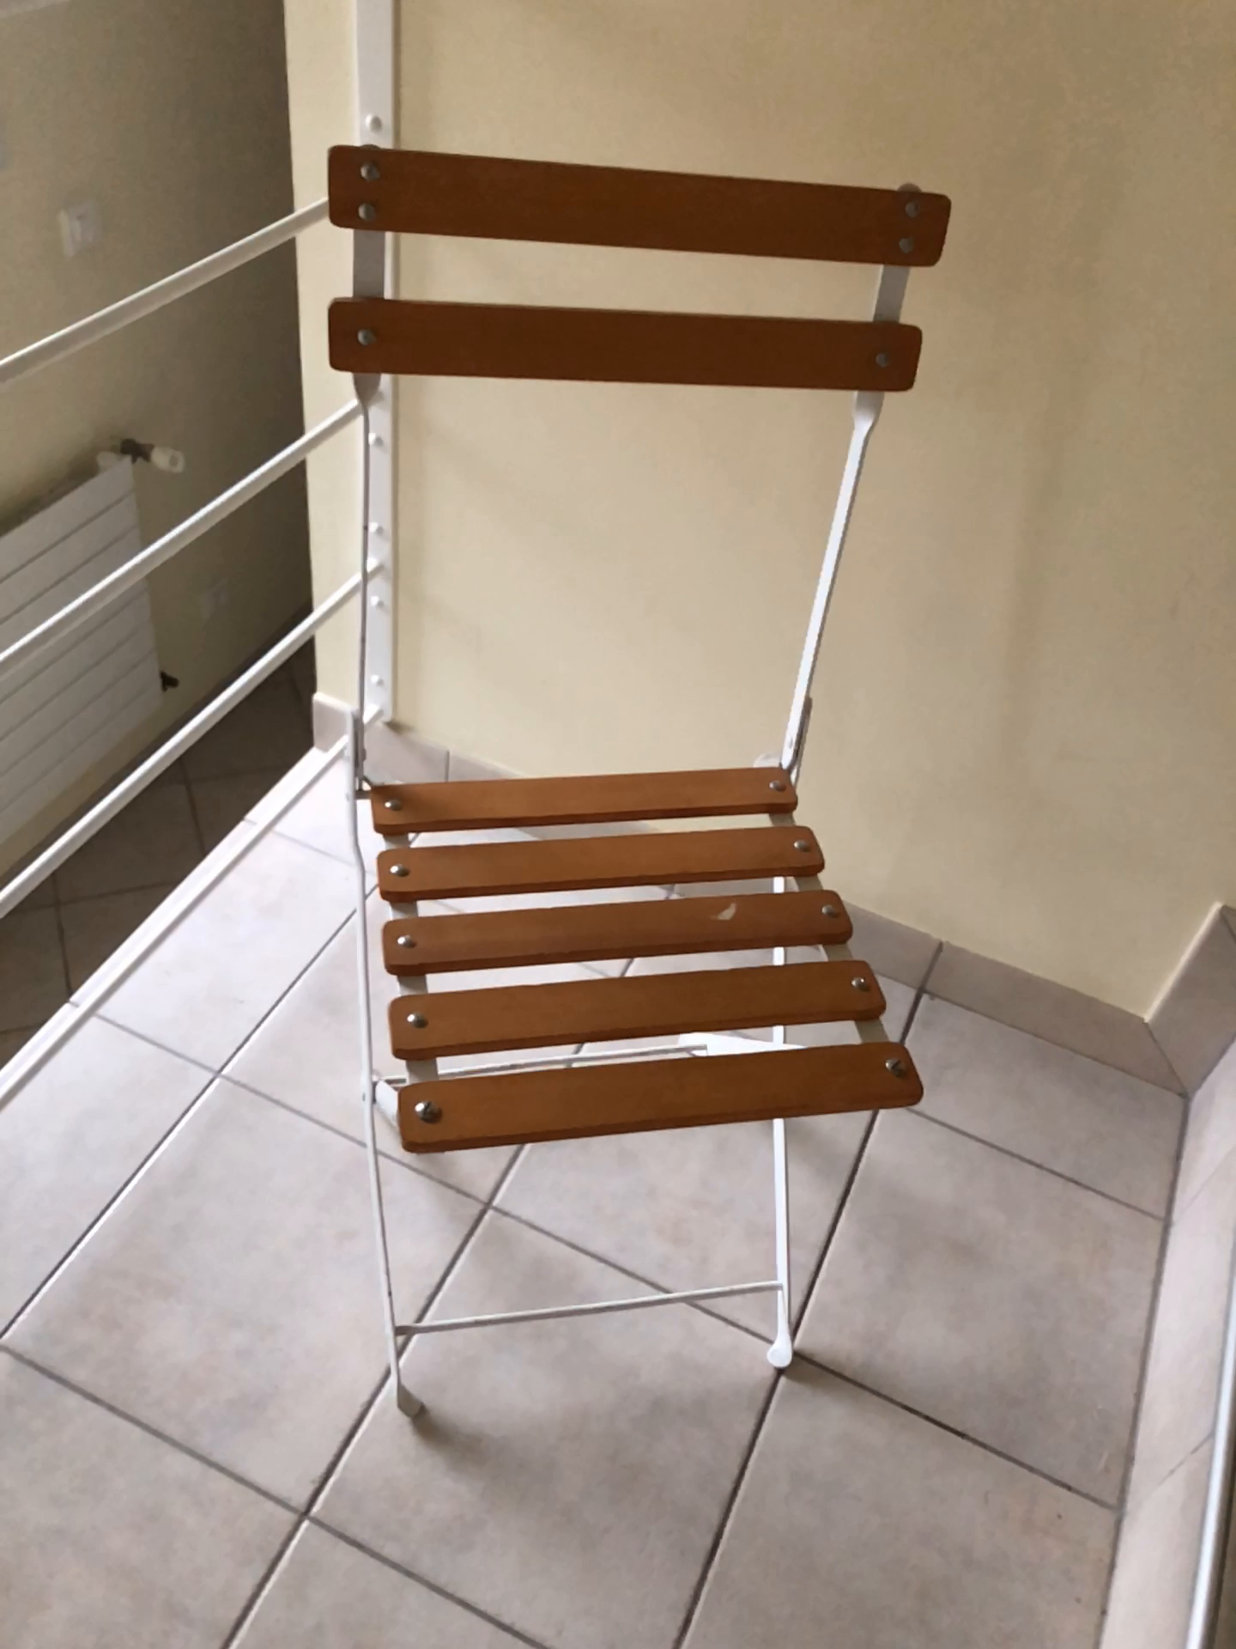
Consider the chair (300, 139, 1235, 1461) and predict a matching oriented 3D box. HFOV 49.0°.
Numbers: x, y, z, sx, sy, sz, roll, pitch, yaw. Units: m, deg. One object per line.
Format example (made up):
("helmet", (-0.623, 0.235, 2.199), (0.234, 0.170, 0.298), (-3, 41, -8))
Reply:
("chair", (0.010, 0.038, 1.016), (0.441, 0.875, 0.432), (-3, 43, -12))
